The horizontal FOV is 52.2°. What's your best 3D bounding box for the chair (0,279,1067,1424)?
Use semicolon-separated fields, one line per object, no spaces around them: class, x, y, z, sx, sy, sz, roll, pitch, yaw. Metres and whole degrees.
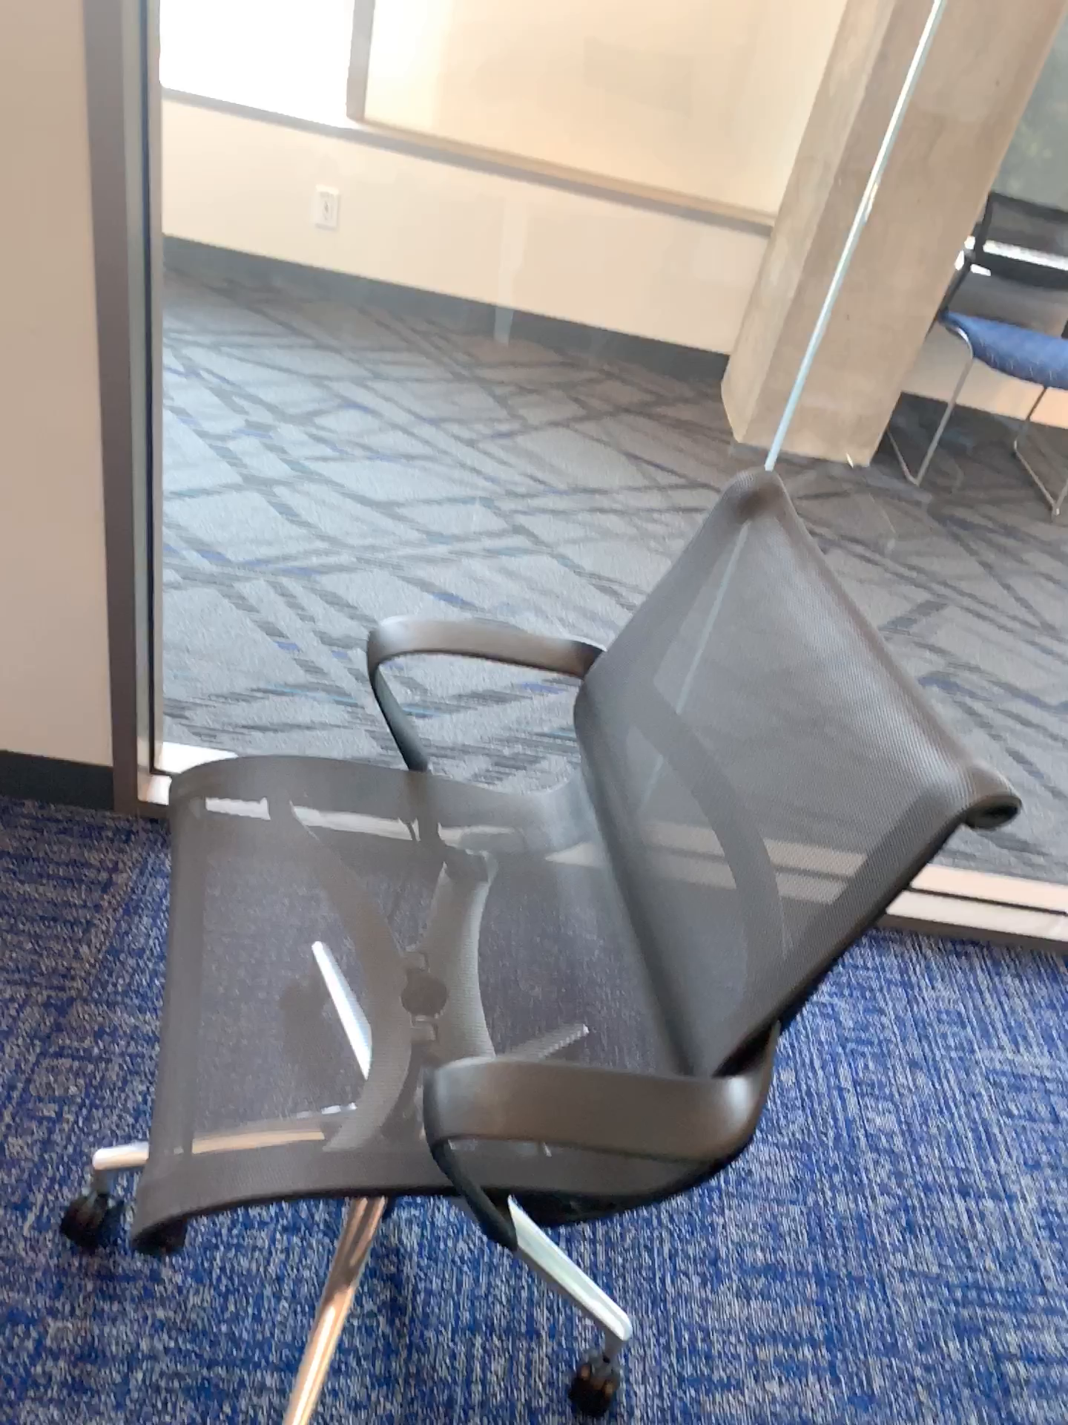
chair;-0.143;0.185;0.919;0.641;0.773;0.665;2;39;-17
